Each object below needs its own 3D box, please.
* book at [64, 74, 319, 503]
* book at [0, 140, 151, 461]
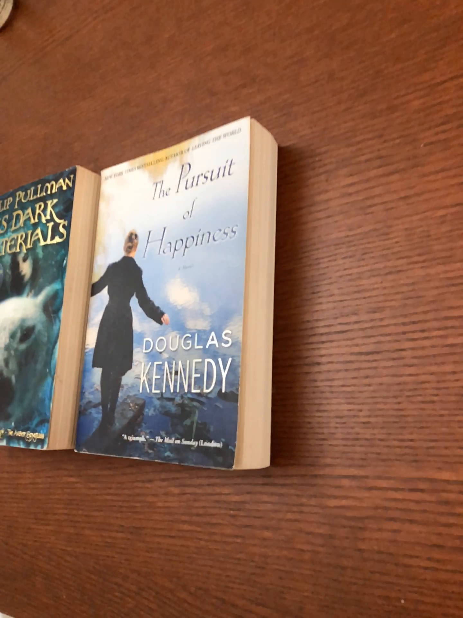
[{"bbox_3d":[-0.030,-0.011,0.355,0.181,0.040,0.250,-6,75,35],"label":"book"},{"bbox_3d":[-0.165,-0.002,0.458,0.181,0.050,0.250,-6,75,35],"label":"book"}]
